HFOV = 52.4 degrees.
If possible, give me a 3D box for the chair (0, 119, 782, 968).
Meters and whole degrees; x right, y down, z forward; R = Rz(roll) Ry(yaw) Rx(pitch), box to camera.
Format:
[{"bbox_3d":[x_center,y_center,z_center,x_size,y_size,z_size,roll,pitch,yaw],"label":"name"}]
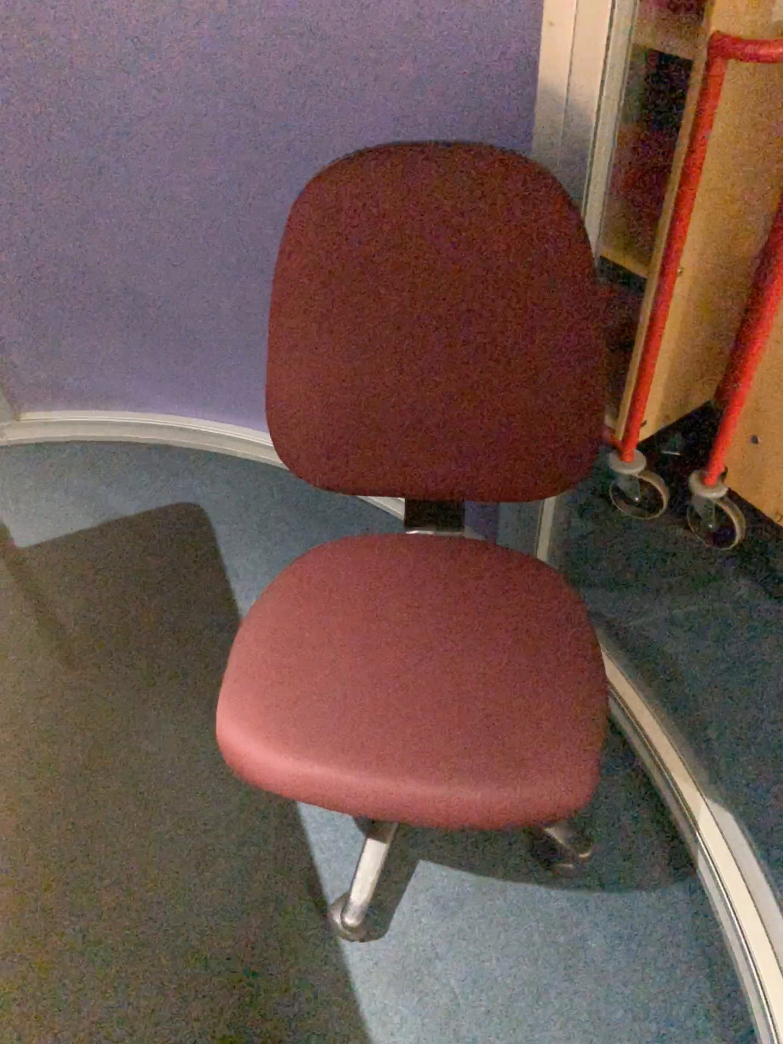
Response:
[{"bbox_3d":[0.036,0.009,1.112,0.580,0.773,0.858,3,47,6],"label":"chair"}]
